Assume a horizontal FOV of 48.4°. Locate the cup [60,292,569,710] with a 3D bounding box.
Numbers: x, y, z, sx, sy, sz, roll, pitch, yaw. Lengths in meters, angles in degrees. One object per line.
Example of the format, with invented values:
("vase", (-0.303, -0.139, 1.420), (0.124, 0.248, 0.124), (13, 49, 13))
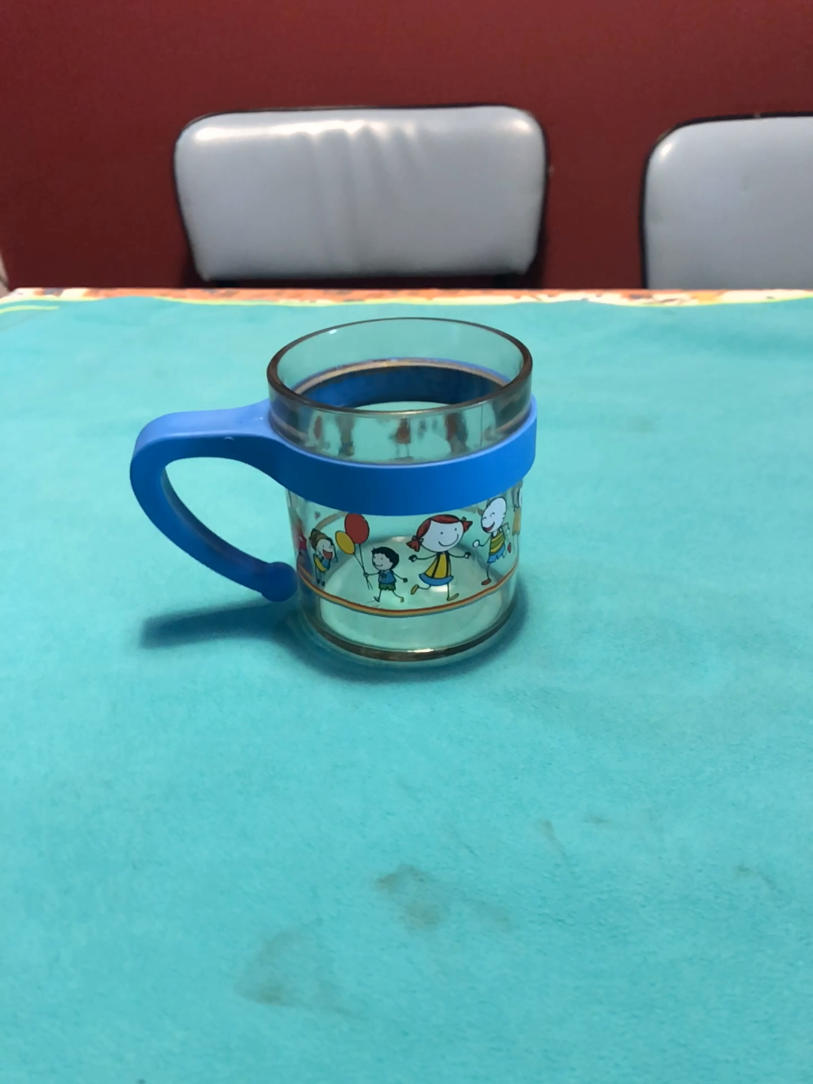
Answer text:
("cup", (-0.026, -0.018, 0.293), (0.130, 0.089, 0.091), (-6, 32, -6))
